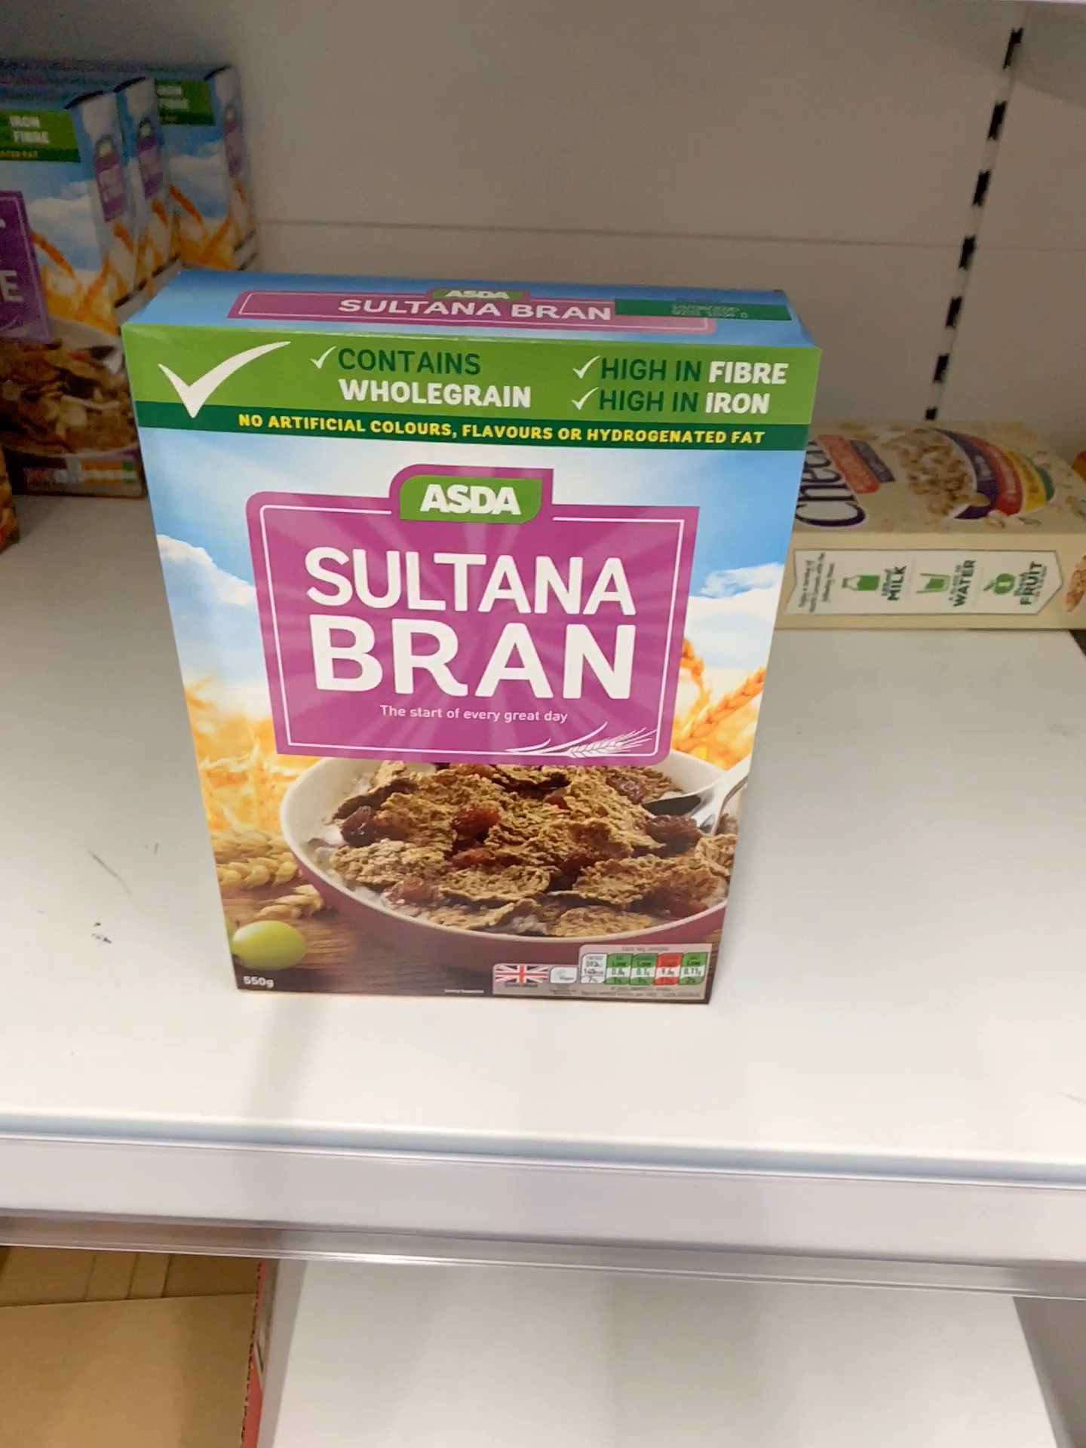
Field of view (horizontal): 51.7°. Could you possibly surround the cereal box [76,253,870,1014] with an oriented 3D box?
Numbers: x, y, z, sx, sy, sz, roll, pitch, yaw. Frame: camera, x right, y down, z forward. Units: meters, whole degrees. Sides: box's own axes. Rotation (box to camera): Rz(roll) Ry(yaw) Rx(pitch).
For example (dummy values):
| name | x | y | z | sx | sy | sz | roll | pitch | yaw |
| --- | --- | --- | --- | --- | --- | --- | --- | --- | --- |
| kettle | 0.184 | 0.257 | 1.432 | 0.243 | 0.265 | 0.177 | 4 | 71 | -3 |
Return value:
| name | x | y | z | sx | sy | sz | roll | pitch | yaw |
| --- | --- | --- | --- | --- | --- | --- | --- | --- | --- |
| cereal box | -0.021 | -0.016 | 0.403 | 0.210 | 0.267 | 0.071 | 2 | 36 | 0 |
